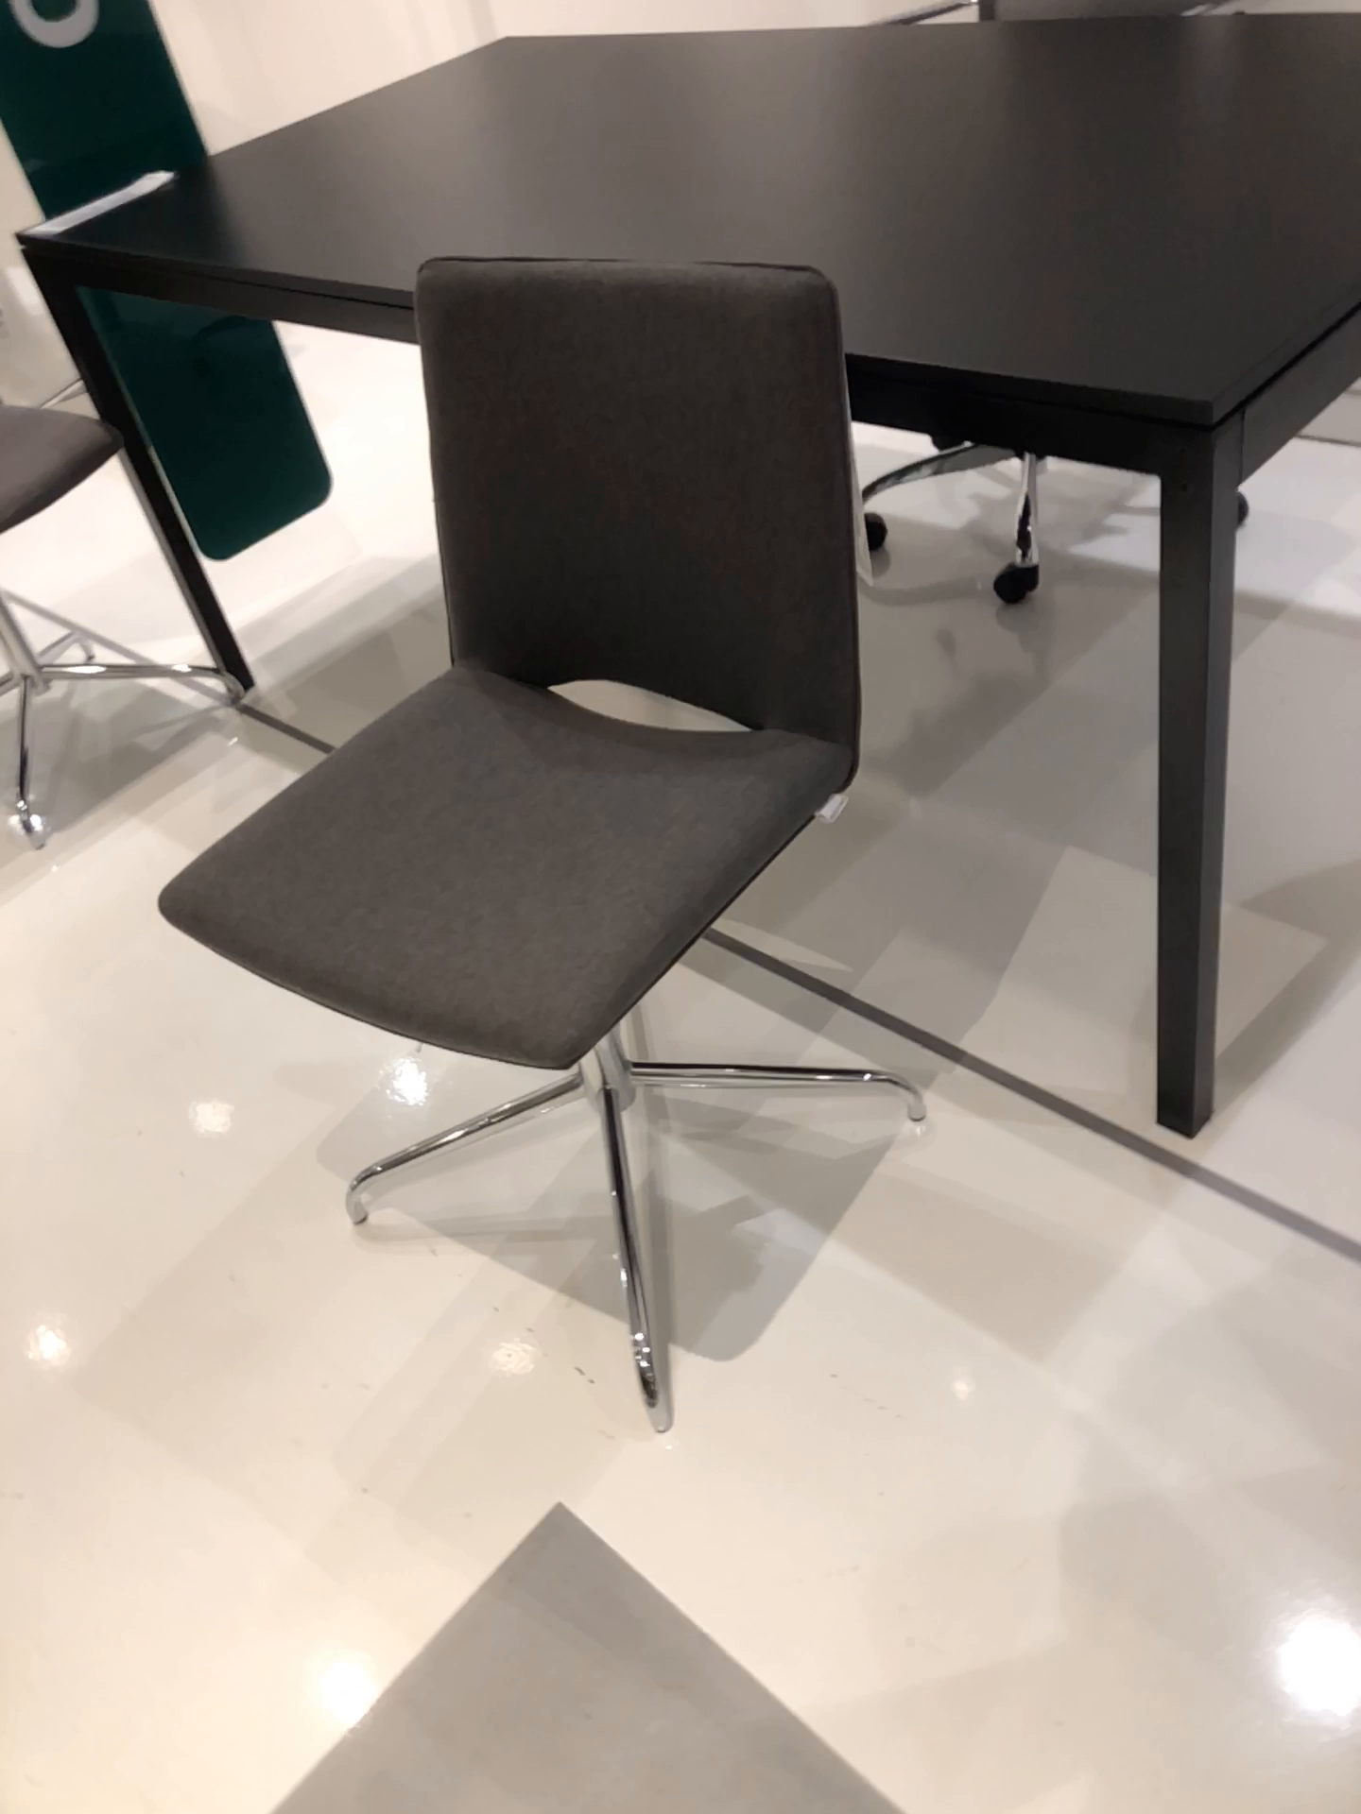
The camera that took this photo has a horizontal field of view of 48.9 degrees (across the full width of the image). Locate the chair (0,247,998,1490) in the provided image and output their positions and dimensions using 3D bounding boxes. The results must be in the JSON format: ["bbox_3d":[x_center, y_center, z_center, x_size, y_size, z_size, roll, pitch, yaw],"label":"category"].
[{"bbox_3d":[-0.105,-0.044,1.316,0.521,0.844,0.532,18,49,33],"label":"chair"}]
